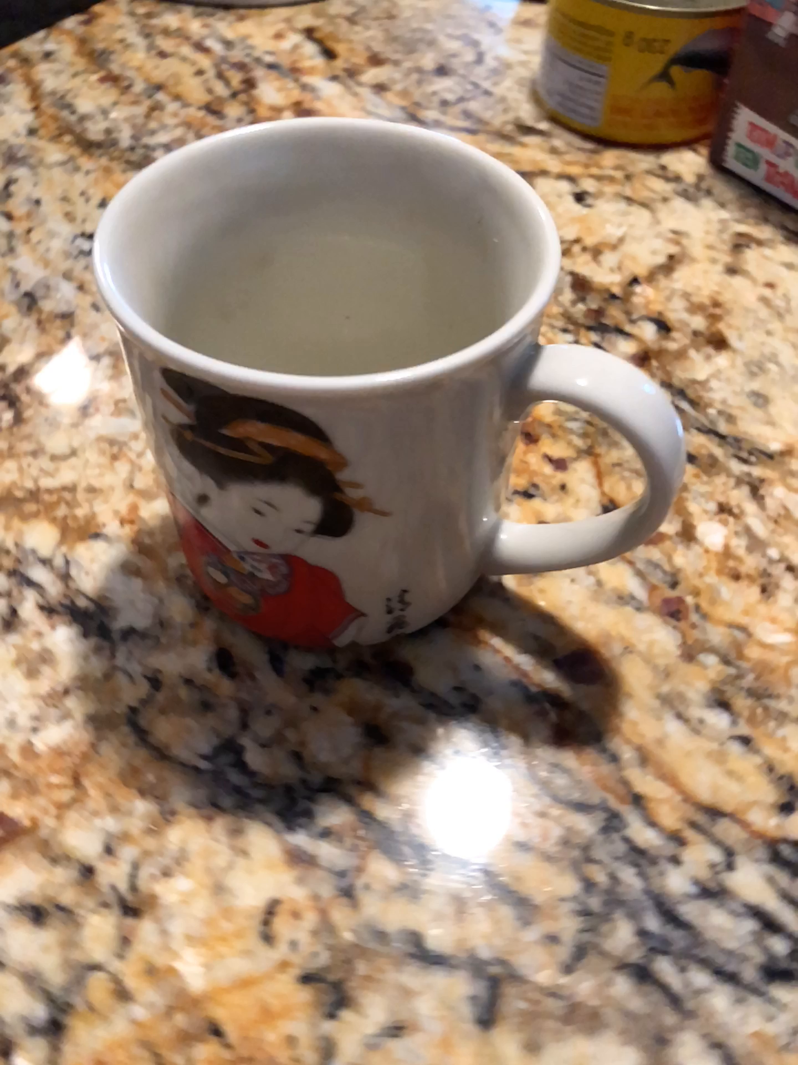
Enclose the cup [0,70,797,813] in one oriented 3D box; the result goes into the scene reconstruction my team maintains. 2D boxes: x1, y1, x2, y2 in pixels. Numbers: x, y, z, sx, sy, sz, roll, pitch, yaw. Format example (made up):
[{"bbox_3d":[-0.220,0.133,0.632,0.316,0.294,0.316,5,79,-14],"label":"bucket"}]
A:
[{"bbox_3d":[0.004,-0.021,0.187,0.120,0.090,0.090,18,53,12],"label":"cup"}]
